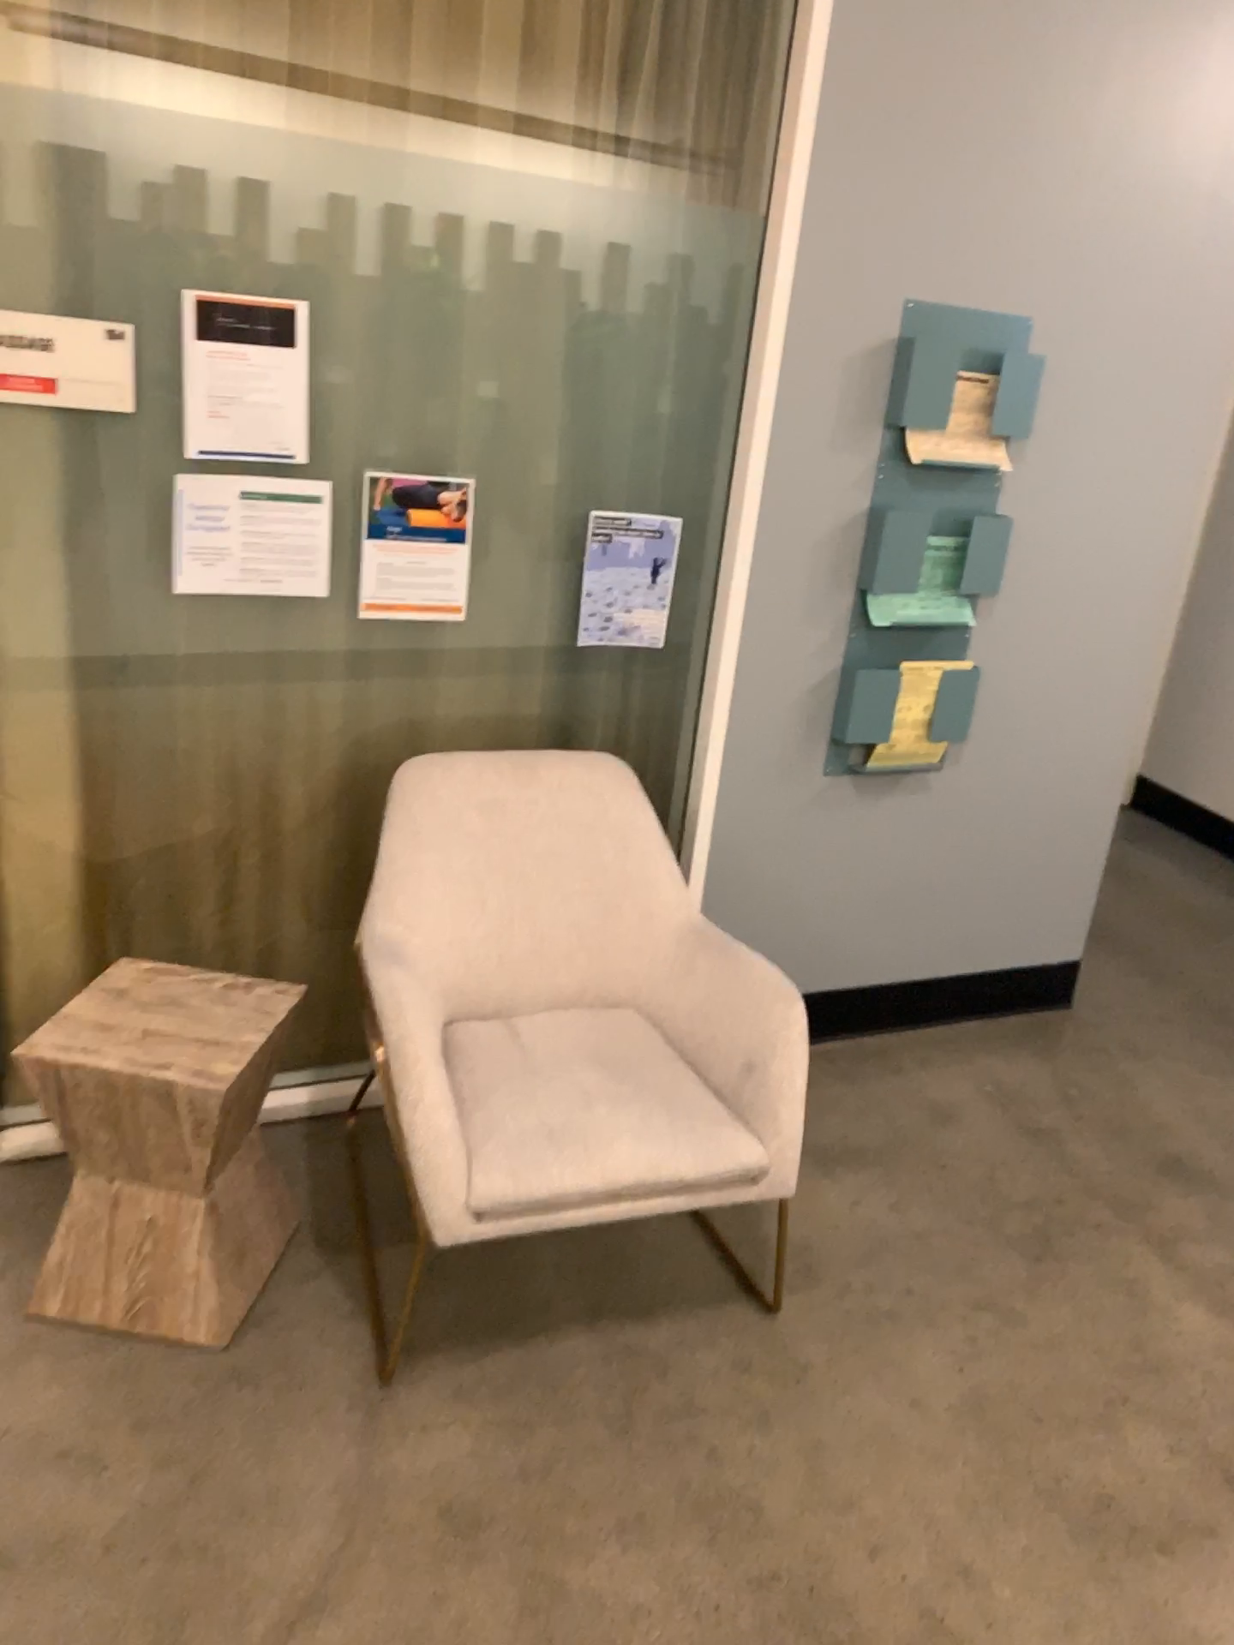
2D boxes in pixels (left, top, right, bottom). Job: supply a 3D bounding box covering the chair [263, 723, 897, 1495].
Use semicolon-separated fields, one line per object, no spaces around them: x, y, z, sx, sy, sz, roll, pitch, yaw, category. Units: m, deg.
-0.159;0.398;2.252;0.780;0.926;0.874;-2;22;-23;chair
